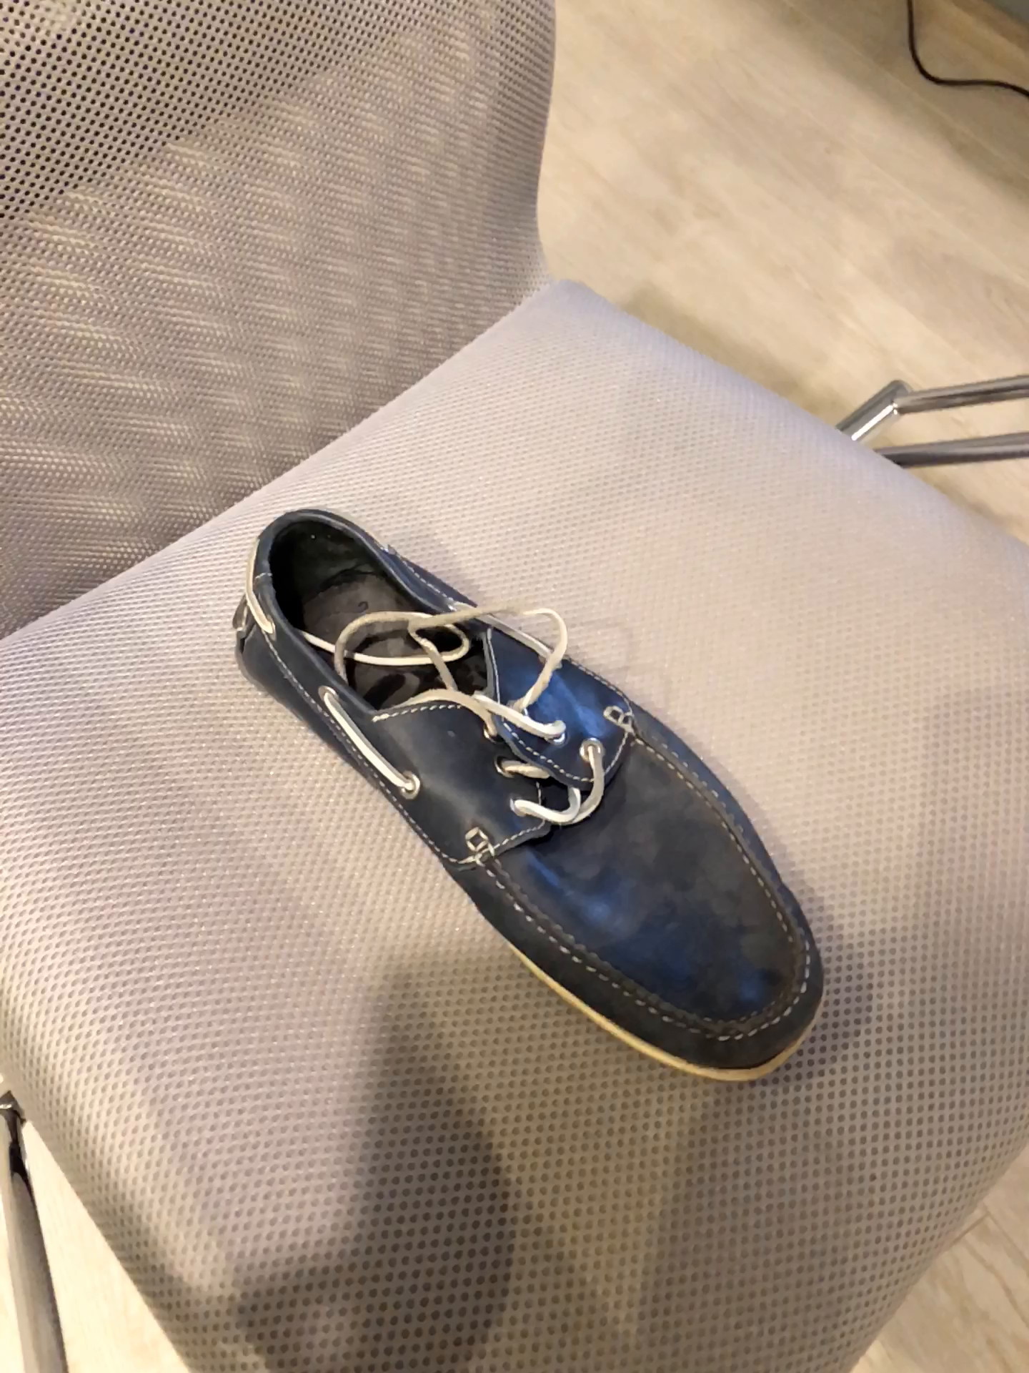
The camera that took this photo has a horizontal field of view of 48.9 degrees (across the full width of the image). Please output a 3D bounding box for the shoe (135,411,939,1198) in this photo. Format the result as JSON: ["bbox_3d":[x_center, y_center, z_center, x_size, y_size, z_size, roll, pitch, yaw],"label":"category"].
[{"bbox_3d":[-0.004,0.035,0.446,0.120,0.100,0.291,-39,66,-20],"label":"shoe"}]
